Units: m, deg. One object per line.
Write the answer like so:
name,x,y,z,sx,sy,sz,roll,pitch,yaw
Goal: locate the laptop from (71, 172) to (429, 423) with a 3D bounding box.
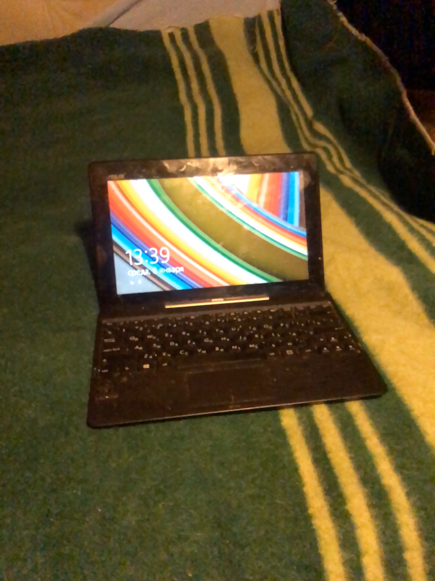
laptop,0.007,-0.015,0.482,0.257,0.116,0.258,-4,35,-7
